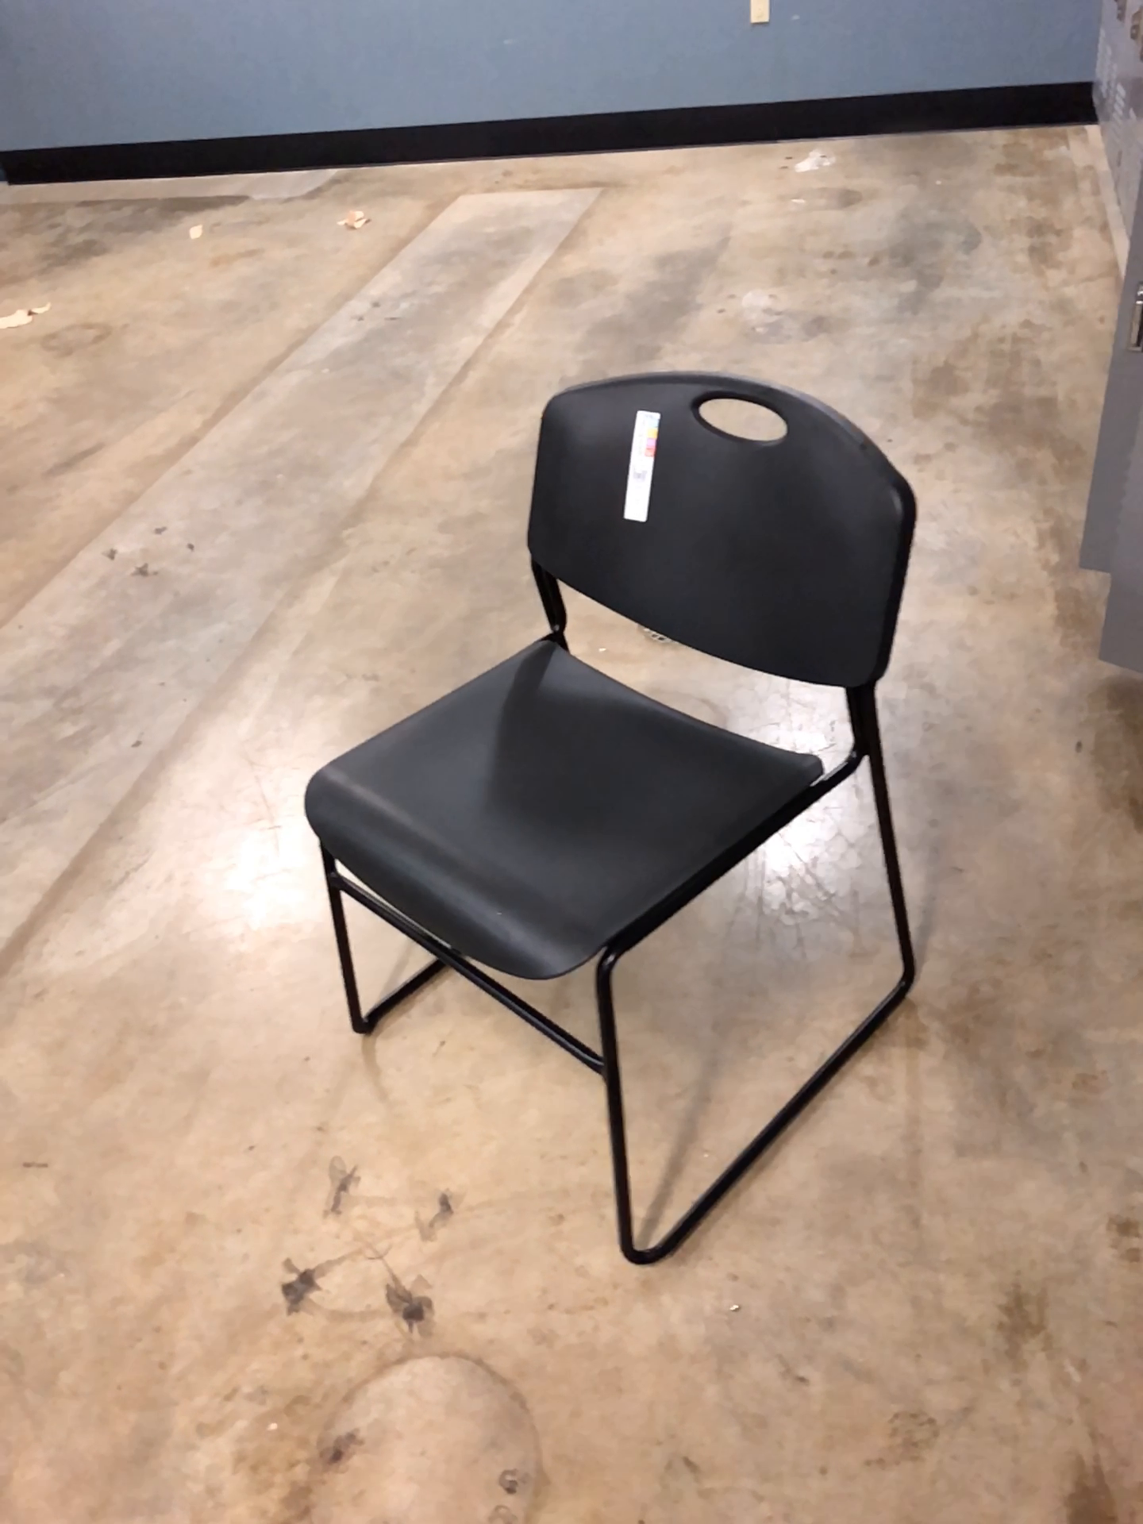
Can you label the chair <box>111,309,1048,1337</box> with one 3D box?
[{"bbox_3d":[0.035,0.020,1.232,0.547,0.665,0.546,-36,45,-30],"label":"chair"}]
